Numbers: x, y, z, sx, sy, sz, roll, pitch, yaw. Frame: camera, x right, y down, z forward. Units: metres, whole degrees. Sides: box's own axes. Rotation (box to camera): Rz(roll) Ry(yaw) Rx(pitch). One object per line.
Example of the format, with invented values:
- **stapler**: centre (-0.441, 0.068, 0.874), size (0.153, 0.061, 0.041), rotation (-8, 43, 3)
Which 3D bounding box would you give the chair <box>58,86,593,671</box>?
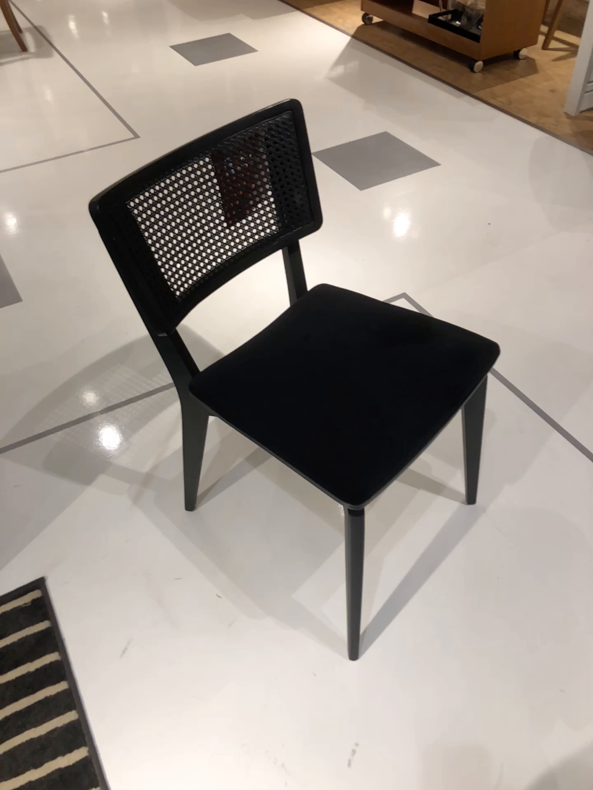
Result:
- **chair**: centre (0.064, -0.033, 1.180), size (0.551, 0.745, 0.533), rotation (28, 53, 28)
